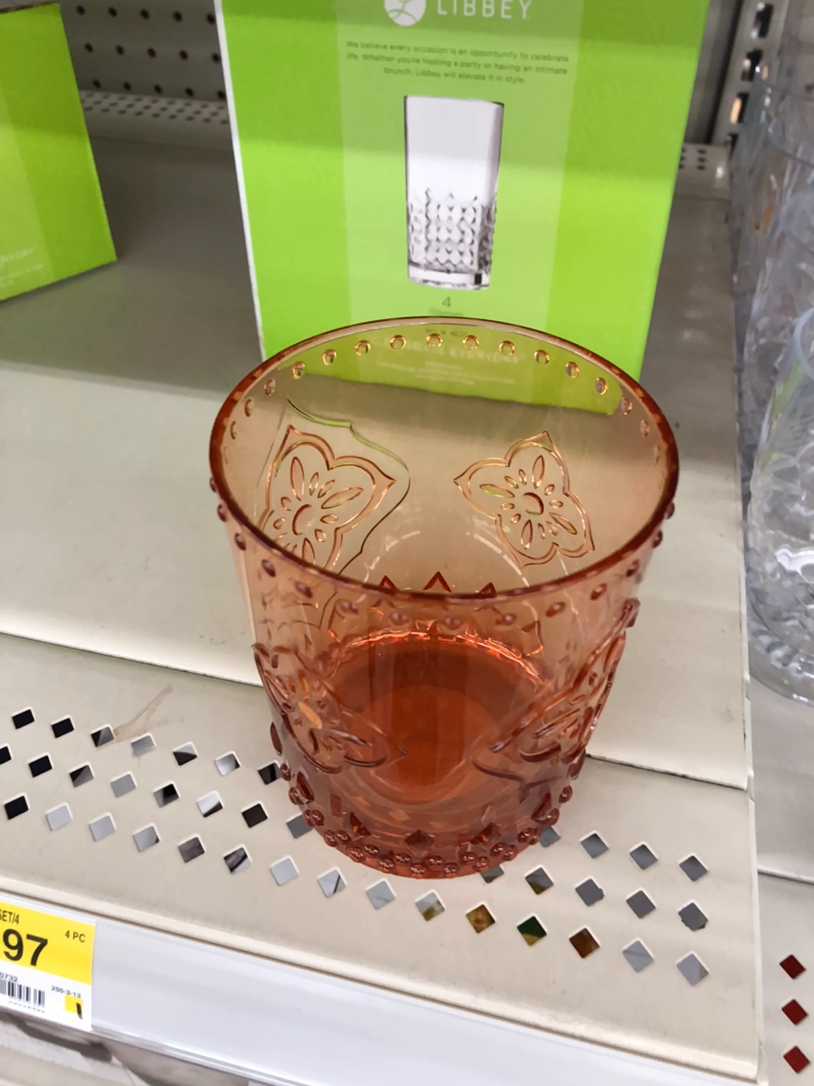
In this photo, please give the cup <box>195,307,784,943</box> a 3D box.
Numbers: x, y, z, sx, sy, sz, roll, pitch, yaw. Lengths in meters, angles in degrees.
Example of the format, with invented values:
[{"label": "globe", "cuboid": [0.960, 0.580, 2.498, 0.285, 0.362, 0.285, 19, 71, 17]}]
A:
[{"label": "cup", "cuboid": [0.008, 0.019, 0.203, 0.090, 0.110, 0.080, -5, 43, -6]}]
